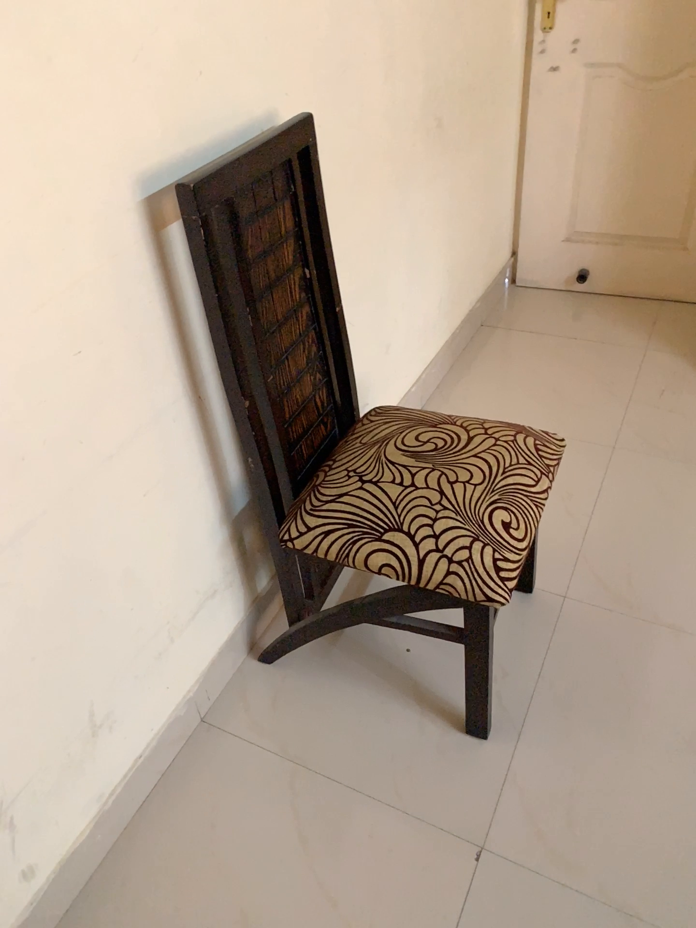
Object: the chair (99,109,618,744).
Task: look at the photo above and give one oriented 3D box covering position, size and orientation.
[{"bbox_3d":[0.083,-0.075,1.280,0.581,0.922,0.534,11,40,21],"label":"chair"}]
